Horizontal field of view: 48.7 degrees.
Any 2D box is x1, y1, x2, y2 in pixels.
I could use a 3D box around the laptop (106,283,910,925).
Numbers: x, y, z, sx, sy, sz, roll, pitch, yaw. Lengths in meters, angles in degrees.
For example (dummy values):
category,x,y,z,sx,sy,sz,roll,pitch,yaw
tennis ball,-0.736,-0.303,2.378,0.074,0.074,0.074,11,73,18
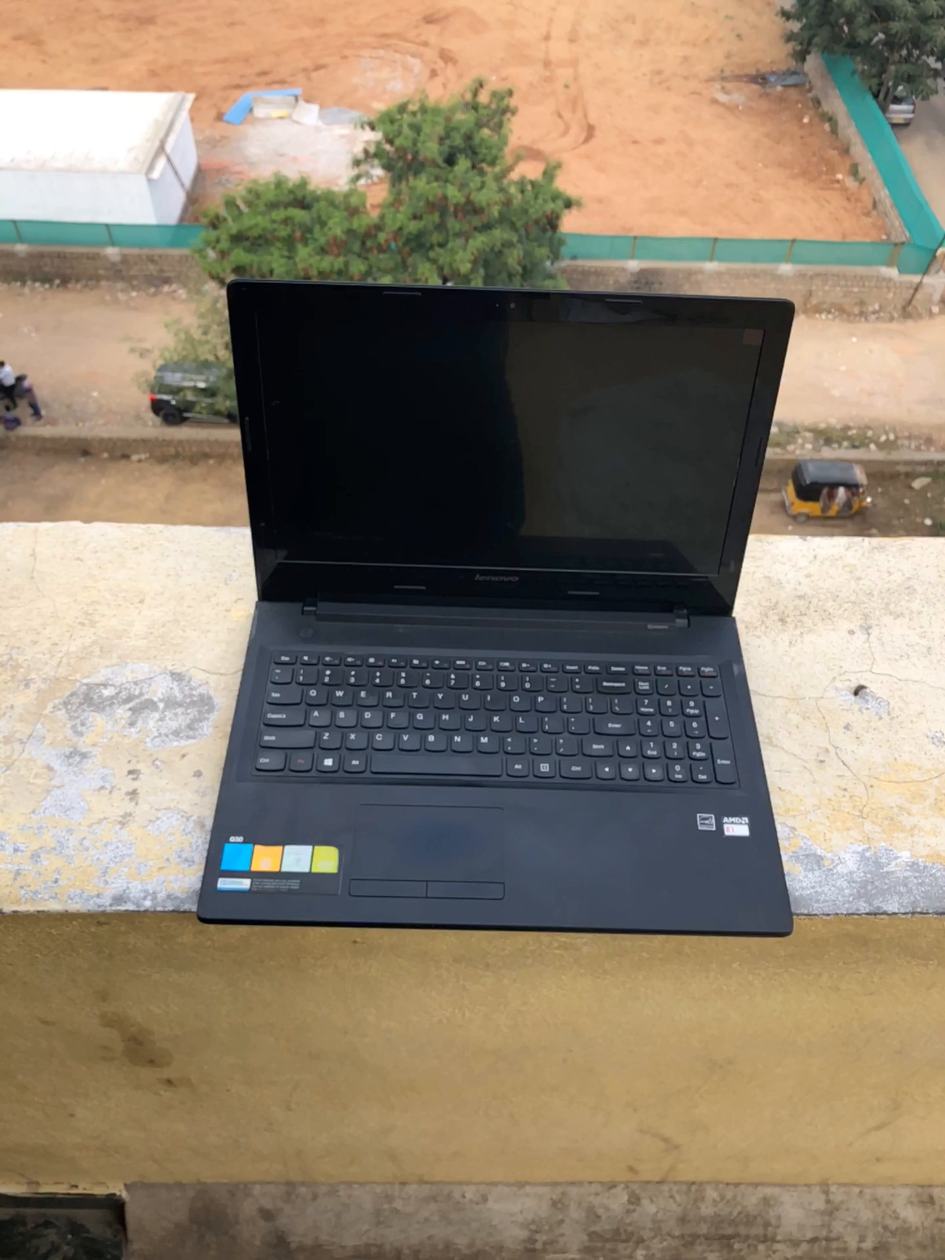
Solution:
category,x,y,z,sx,sy,sz,roll,pitch,yaw
laptop,0.016,-0.019,0.667,0.366,0.229,0.331,1,51,-2
